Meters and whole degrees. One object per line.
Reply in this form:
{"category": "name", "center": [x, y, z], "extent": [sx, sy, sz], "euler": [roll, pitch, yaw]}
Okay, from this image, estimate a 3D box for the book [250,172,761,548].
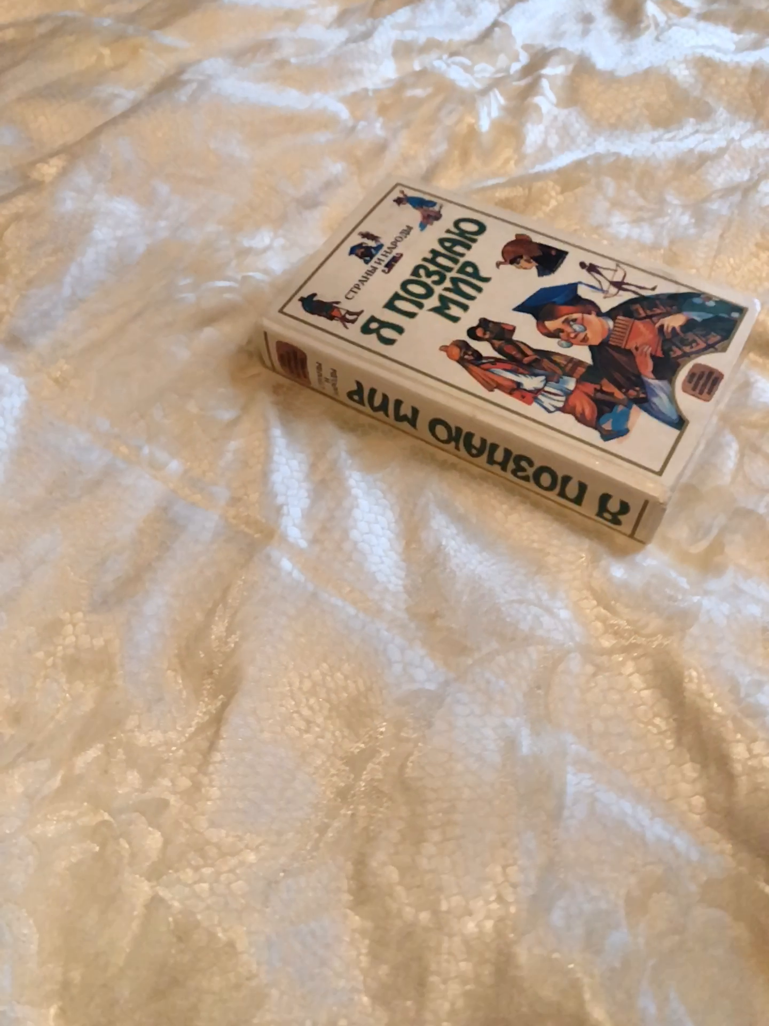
{"category": "book", "center": [0.057, -0.084, 0.410], "extent": [0.197, 0.037, 0.134], "euler": [26, 60, 18]}
